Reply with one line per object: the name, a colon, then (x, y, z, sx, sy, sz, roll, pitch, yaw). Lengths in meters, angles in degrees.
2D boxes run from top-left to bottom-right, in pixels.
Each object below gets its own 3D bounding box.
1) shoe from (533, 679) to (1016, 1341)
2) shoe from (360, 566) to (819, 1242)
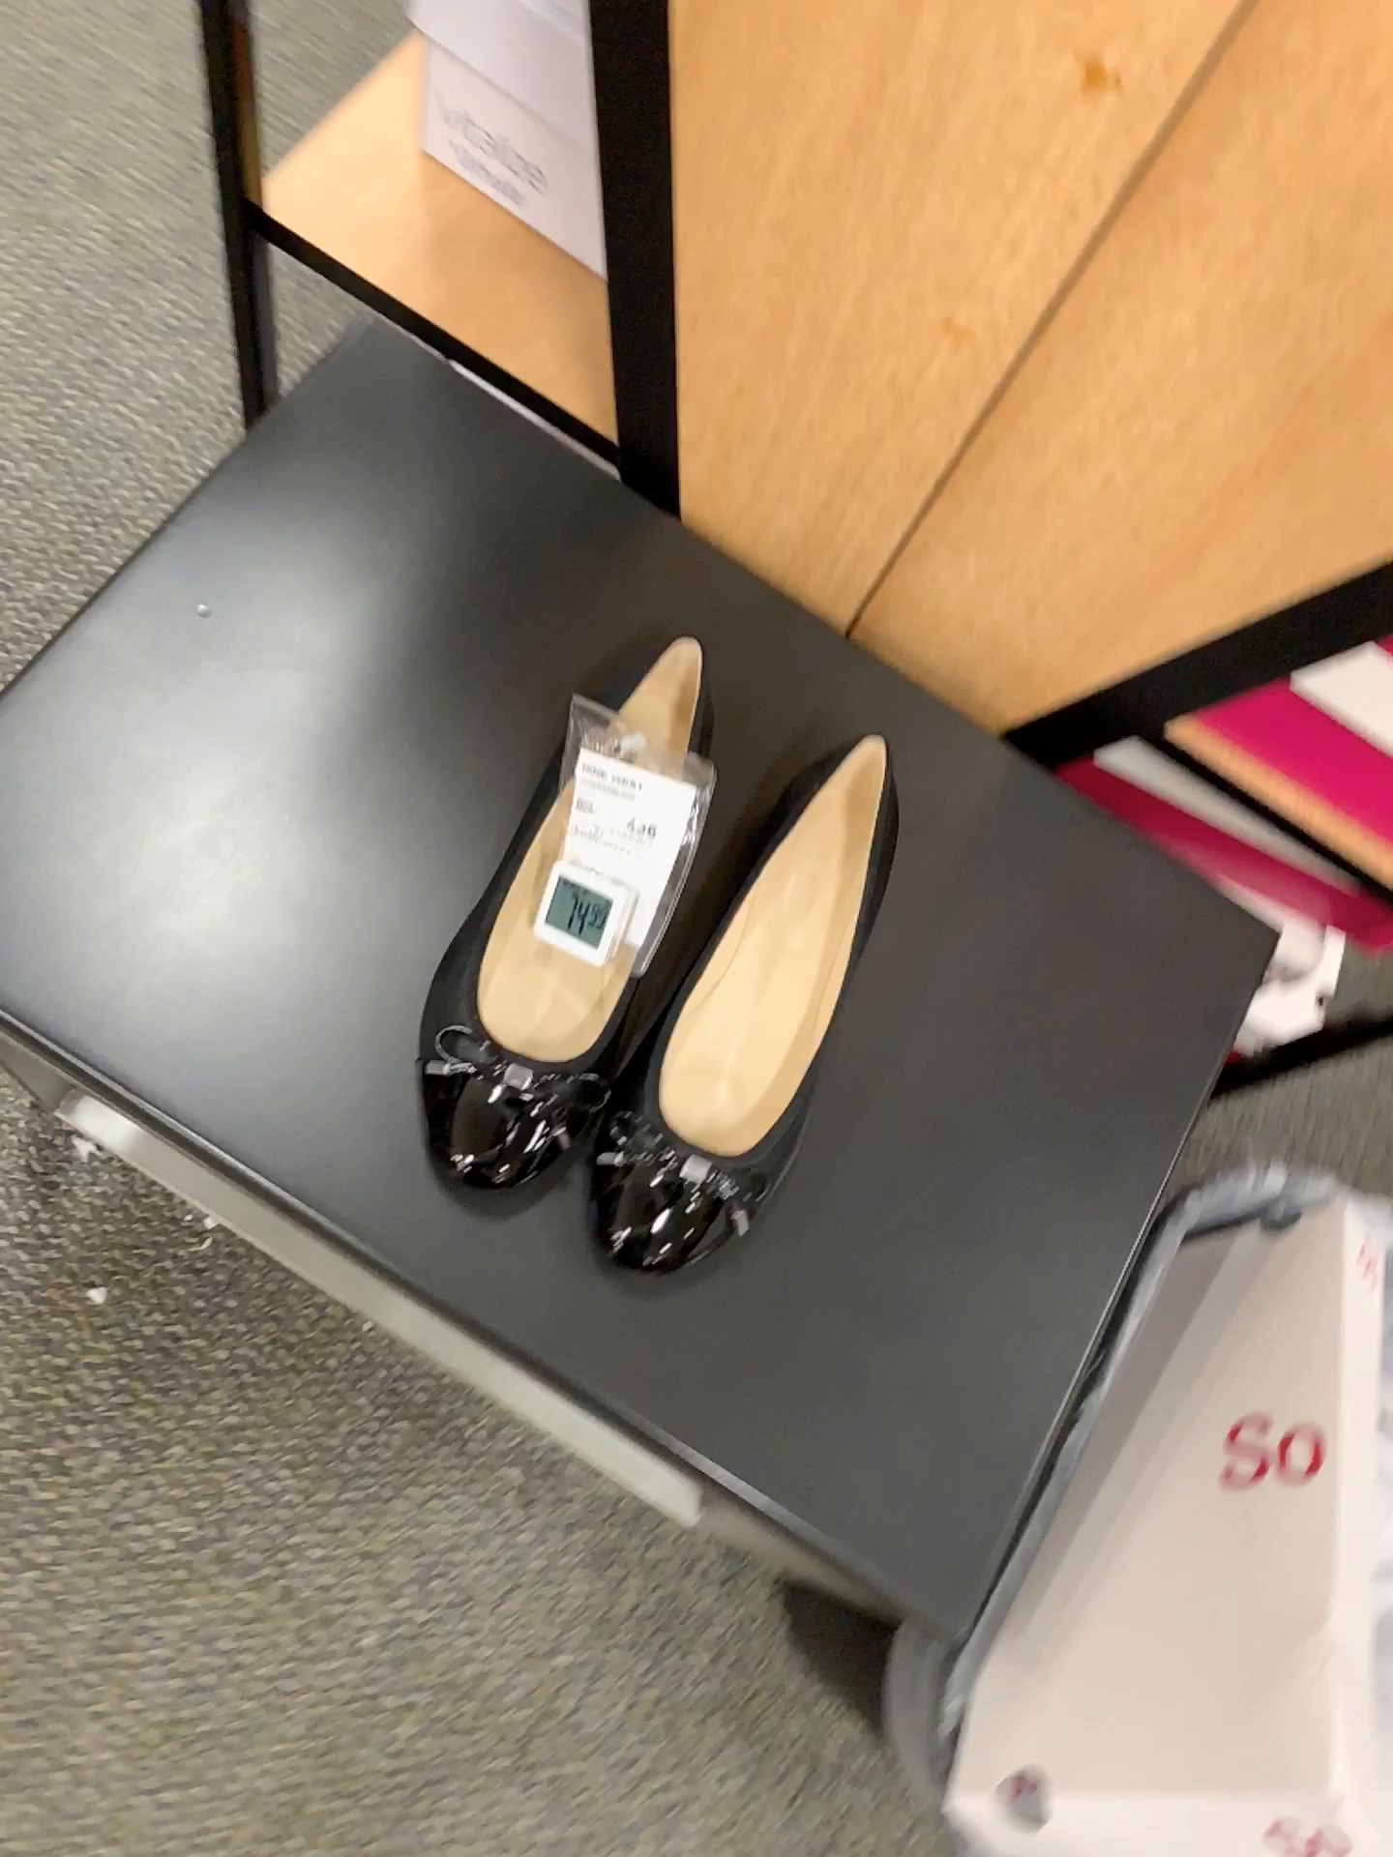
shoe: (0.033, 0.035, 0.601, 0.090, 0.100, 0.250, 28, 68, -4)
shoe: (-0.044, -0.009, 0.595, 0.090, 0.100, 0.250, 24, 69, -5)
